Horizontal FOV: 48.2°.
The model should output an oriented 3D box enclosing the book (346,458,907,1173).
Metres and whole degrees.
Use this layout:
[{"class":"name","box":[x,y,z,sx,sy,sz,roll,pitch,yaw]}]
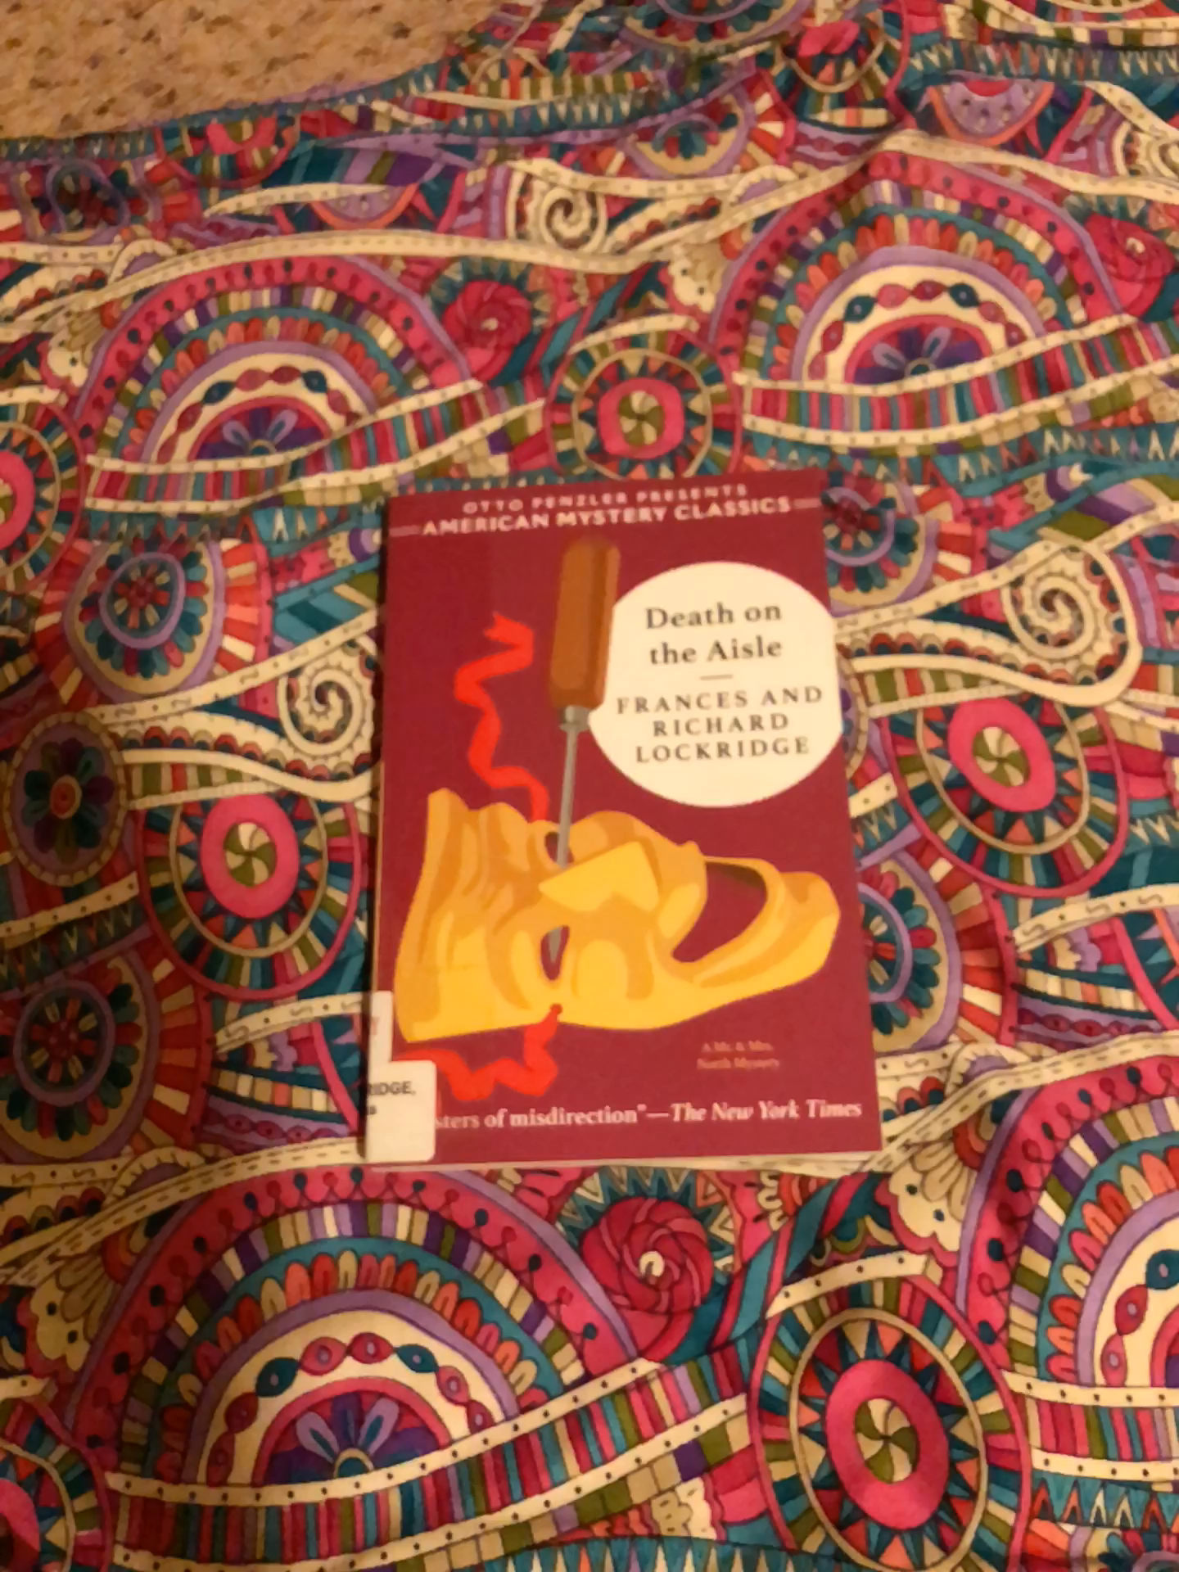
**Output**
[{"class":"book","box":[0.007,0.003,0.366,0.137,0.024,0.196,-2,70,3]}]
